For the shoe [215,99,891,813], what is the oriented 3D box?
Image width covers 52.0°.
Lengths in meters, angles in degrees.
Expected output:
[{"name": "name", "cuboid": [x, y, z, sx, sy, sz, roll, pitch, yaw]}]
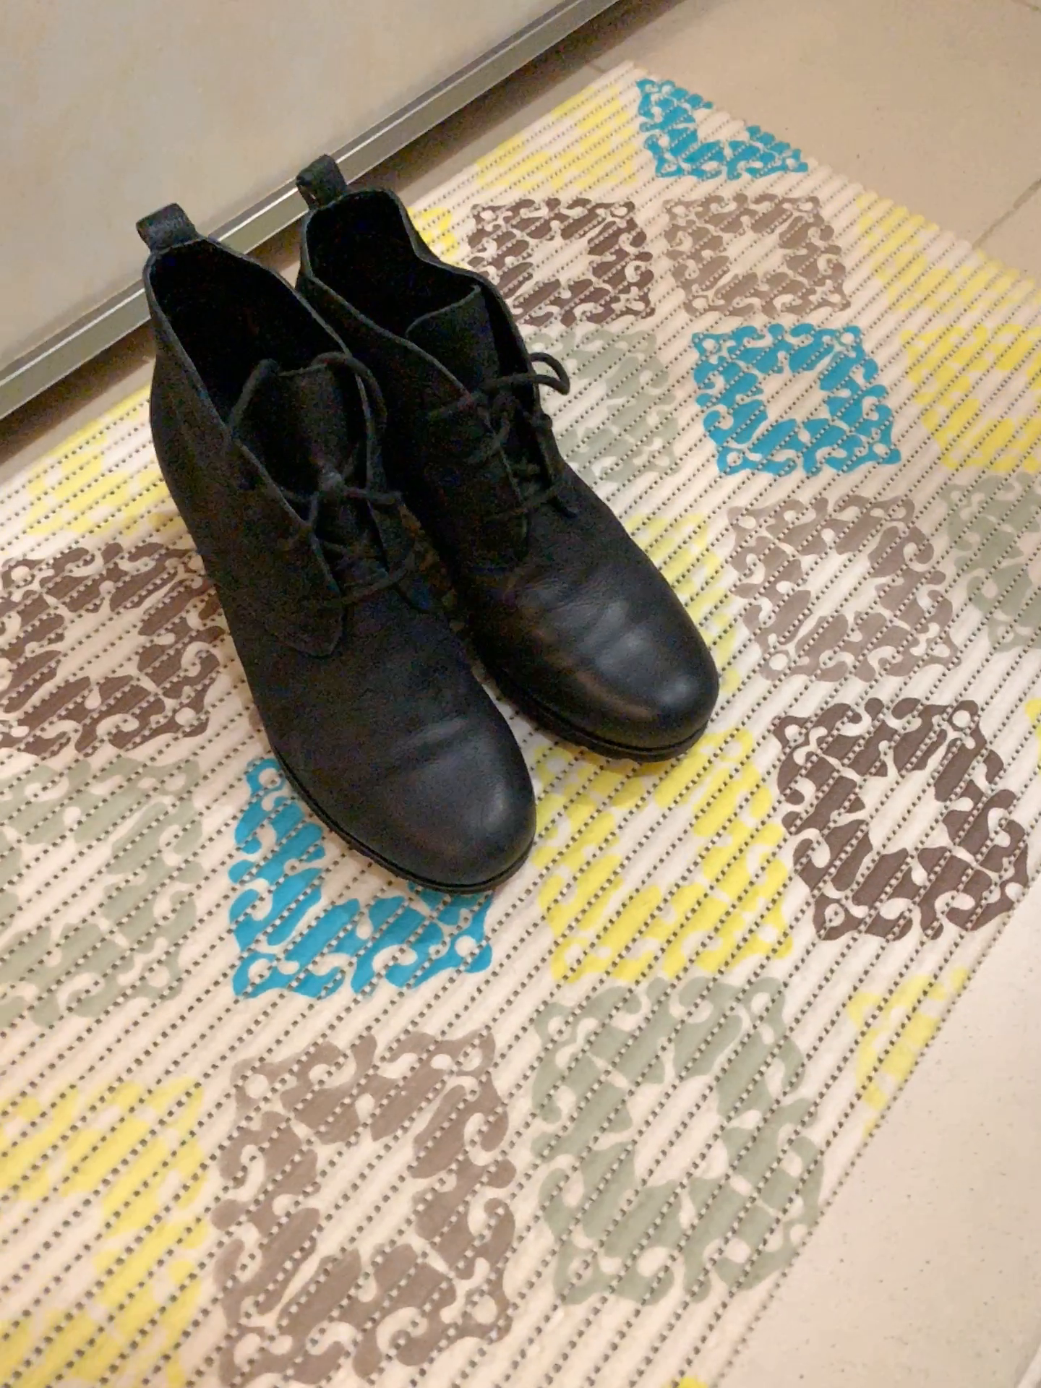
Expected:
[{"name": "shoe", "cuboid": [0.000, -0.089, 0.420, 0.090, 0.150, 0.230, -39, 70, -22]}]

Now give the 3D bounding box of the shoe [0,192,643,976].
[{"name": "shoe", "cuboid": [-0.076, -0.036, 0.387, 0.090, 0.150, 0.230, -32, 68, -20]}]
